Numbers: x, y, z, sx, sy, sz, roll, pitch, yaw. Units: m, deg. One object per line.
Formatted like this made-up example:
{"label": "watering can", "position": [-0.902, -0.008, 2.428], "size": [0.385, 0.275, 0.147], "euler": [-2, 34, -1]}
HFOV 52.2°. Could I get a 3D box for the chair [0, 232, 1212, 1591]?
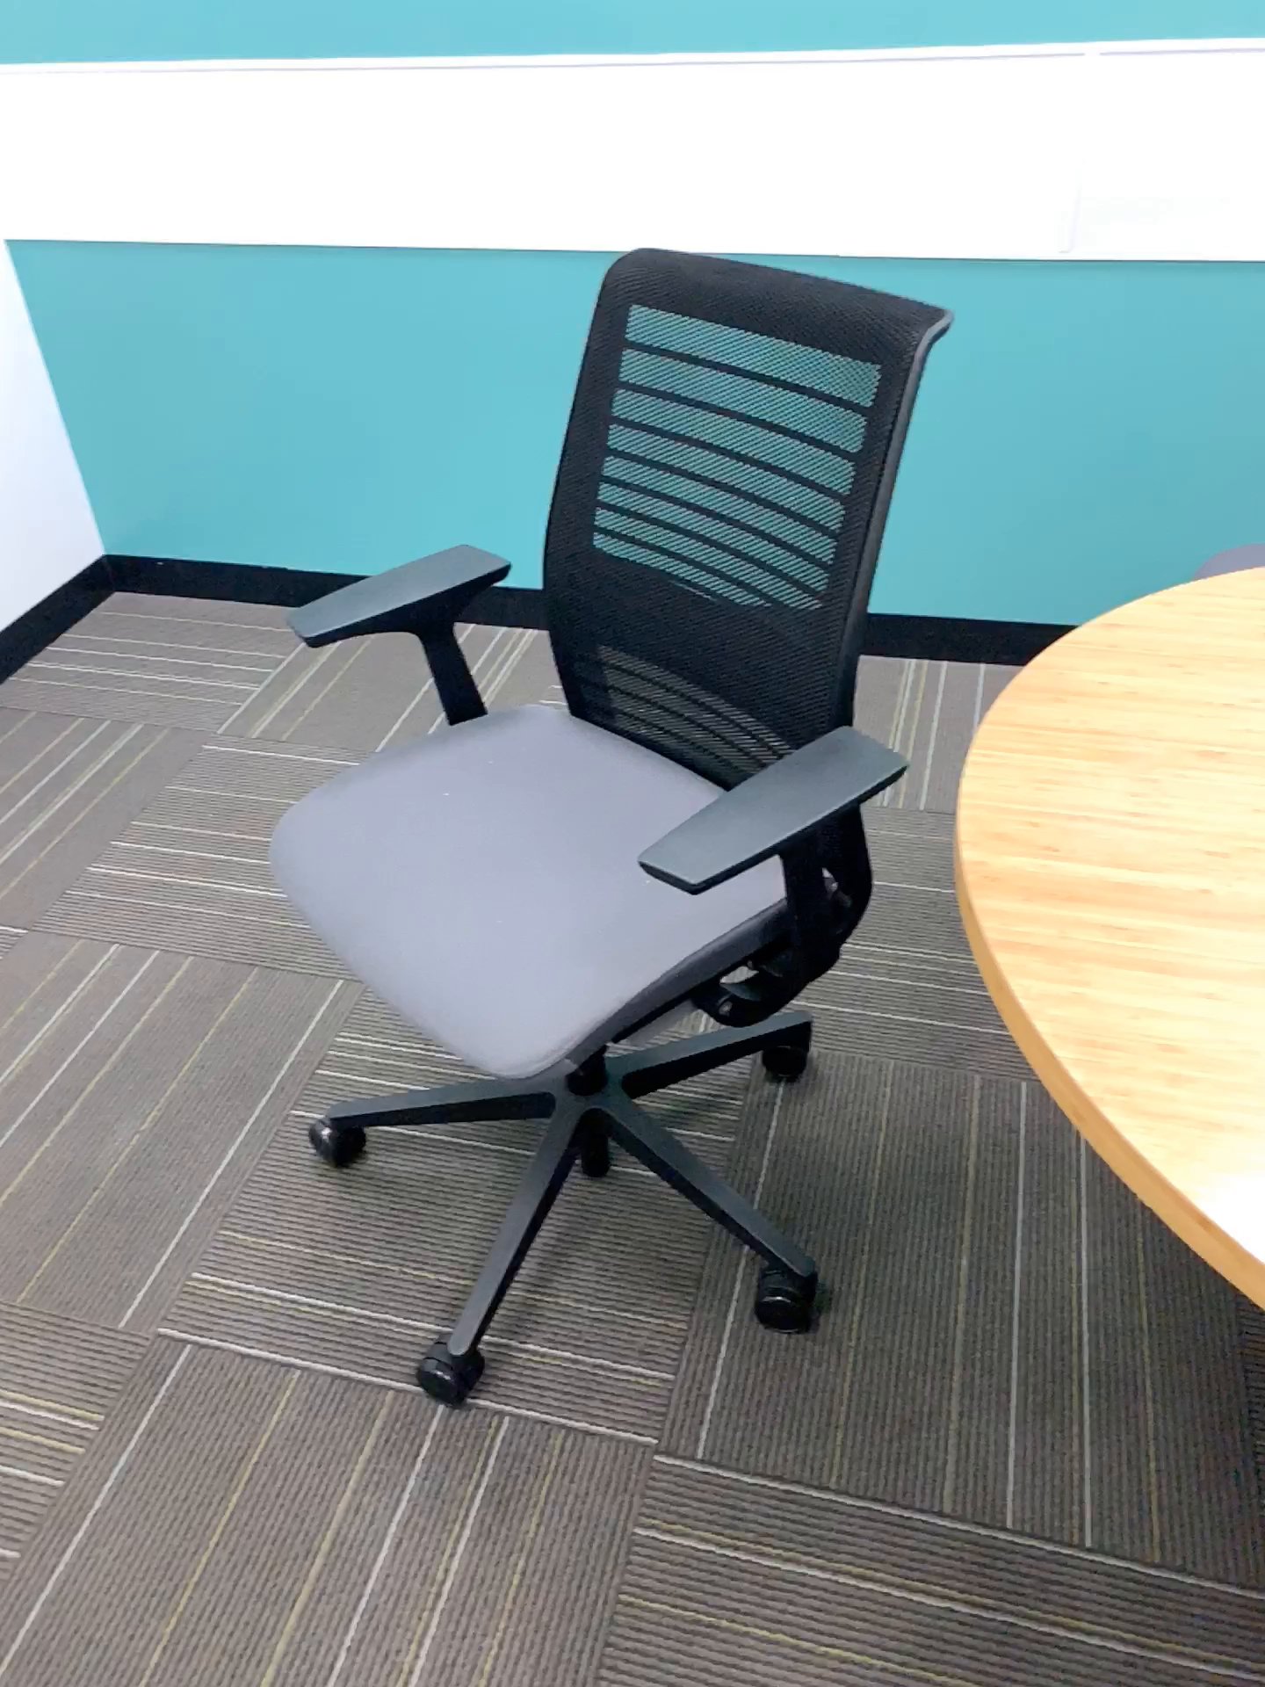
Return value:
{"label": "chair", "position": [-0.025, -0.006, 1.405], "size": [0.733, 0.984, 0.841], "euler": [29, 47, 35]}
